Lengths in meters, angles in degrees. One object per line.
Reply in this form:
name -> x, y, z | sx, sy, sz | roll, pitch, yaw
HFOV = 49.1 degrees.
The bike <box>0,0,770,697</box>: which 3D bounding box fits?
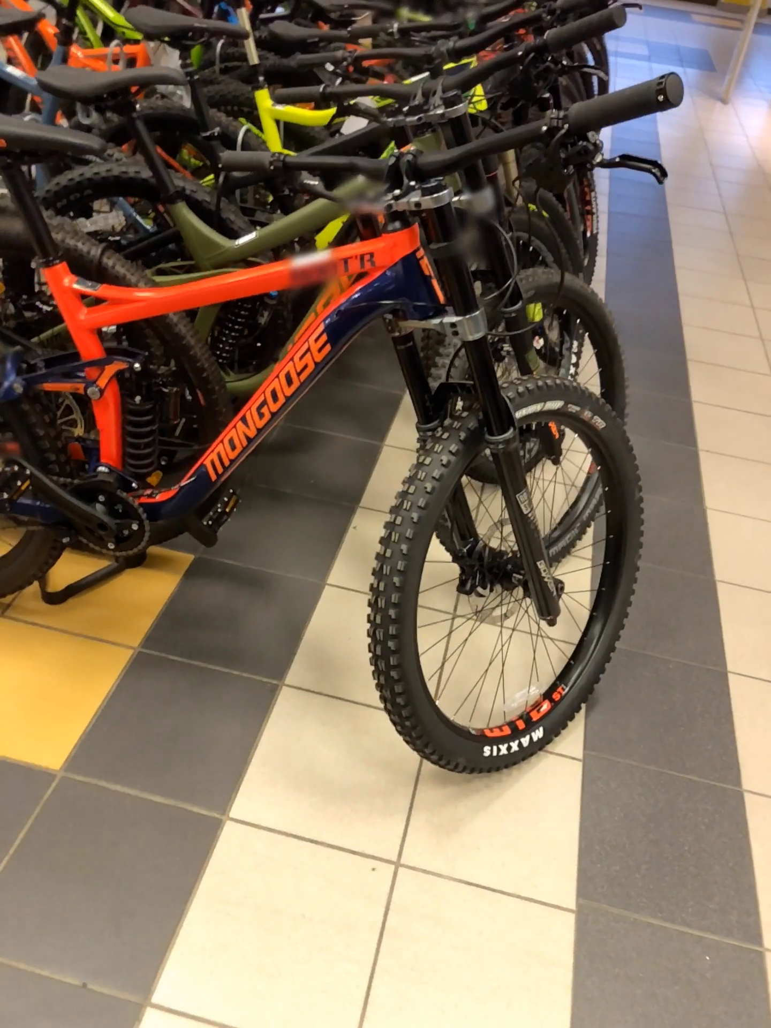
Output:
bike -> -0.349, -0.361, 1.492 | 1.697, 1.109, 0.805 | 4, 37, -2
